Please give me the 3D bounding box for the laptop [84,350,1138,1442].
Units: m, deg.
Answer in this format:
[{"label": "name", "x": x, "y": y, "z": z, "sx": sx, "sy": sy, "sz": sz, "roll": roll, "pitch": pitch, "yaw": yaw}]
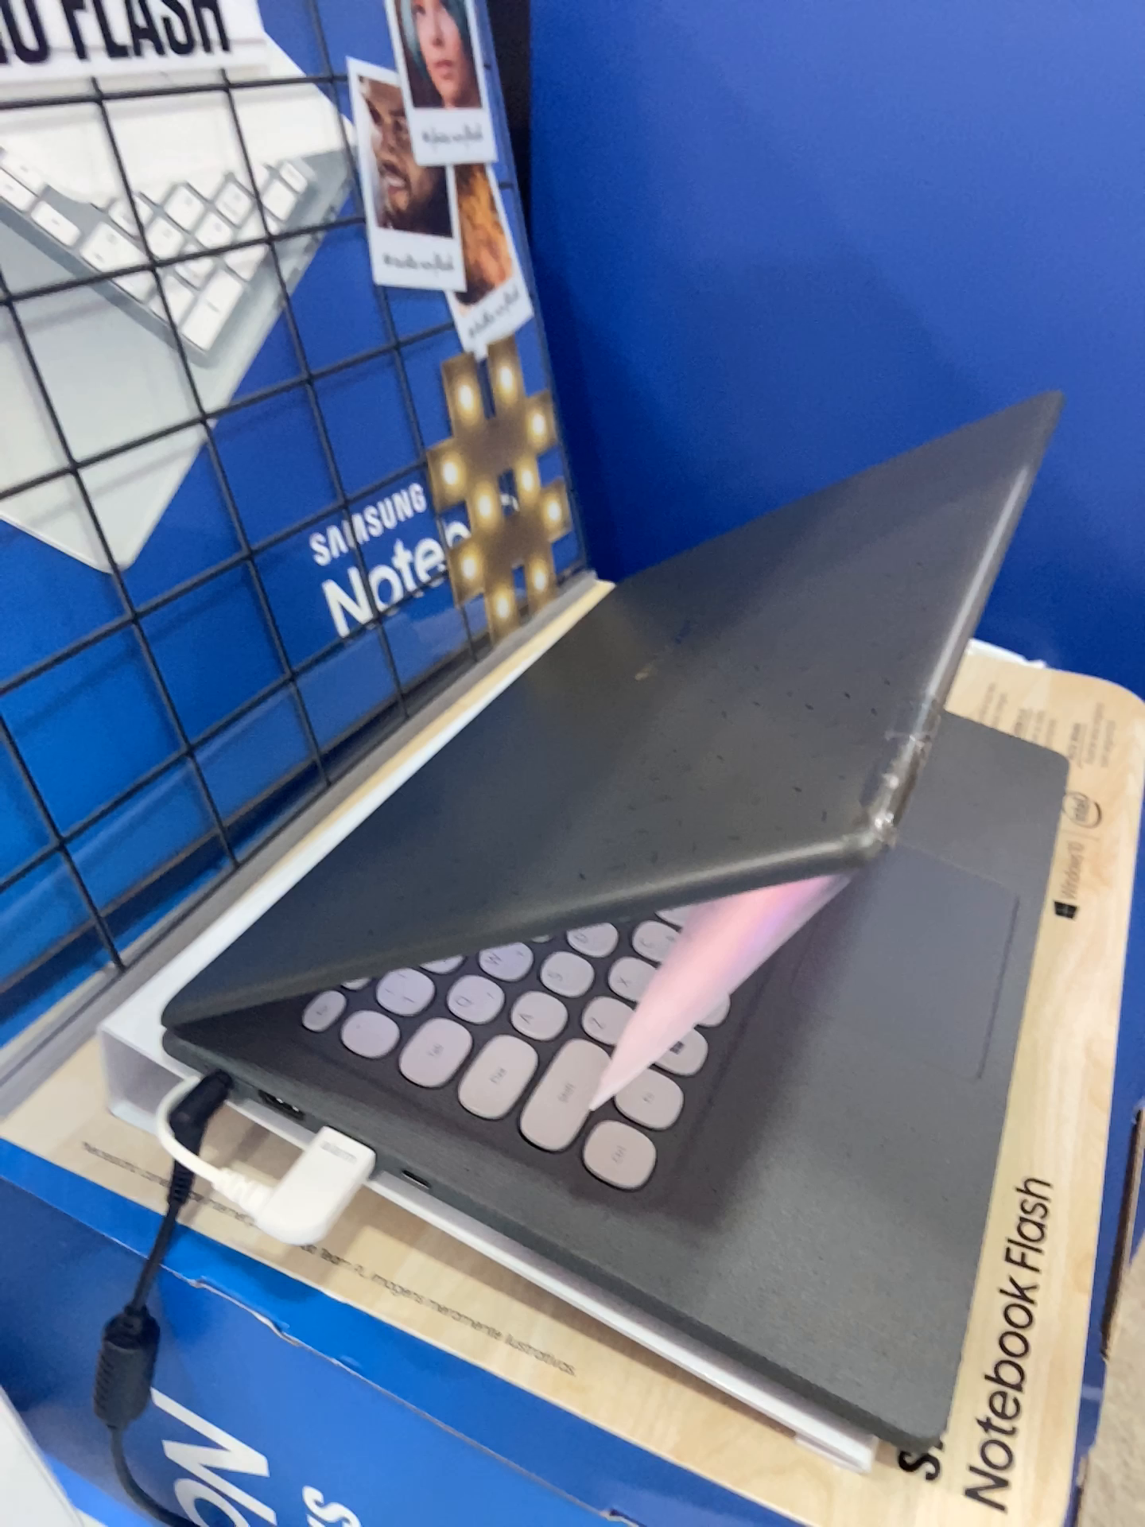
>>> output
[{"label": "laptop", "x": 0.055, "y": -0.012, "z": 0.388, "sx": 0.210, "sy": 0.114, "sz": 0.325, "roll": 21, "pitch": 37, "yaw": 16}]
